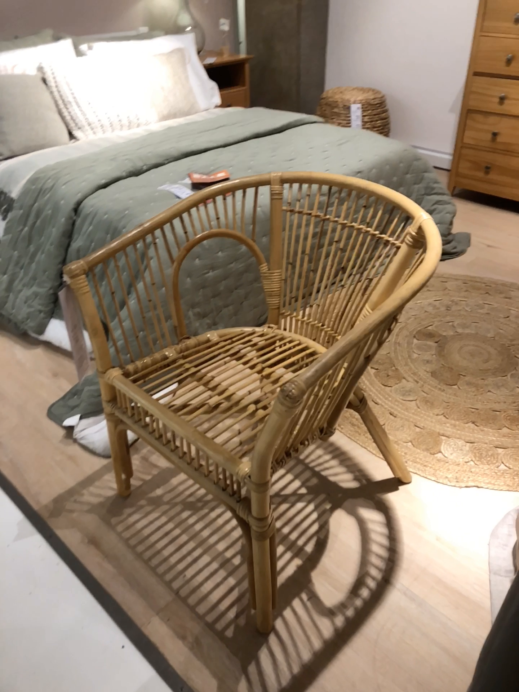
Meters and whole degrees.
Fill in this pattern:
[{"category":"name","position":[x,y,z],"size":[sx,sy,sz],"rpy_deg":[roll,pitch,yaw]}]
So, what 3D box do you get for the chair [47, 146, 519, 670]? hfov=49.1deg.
[{"category":"chair","position":[0.050,0.065,1.242],"size":[0.633,0.754,0.592],"rpy_deg":[-28,42,-35]}]
